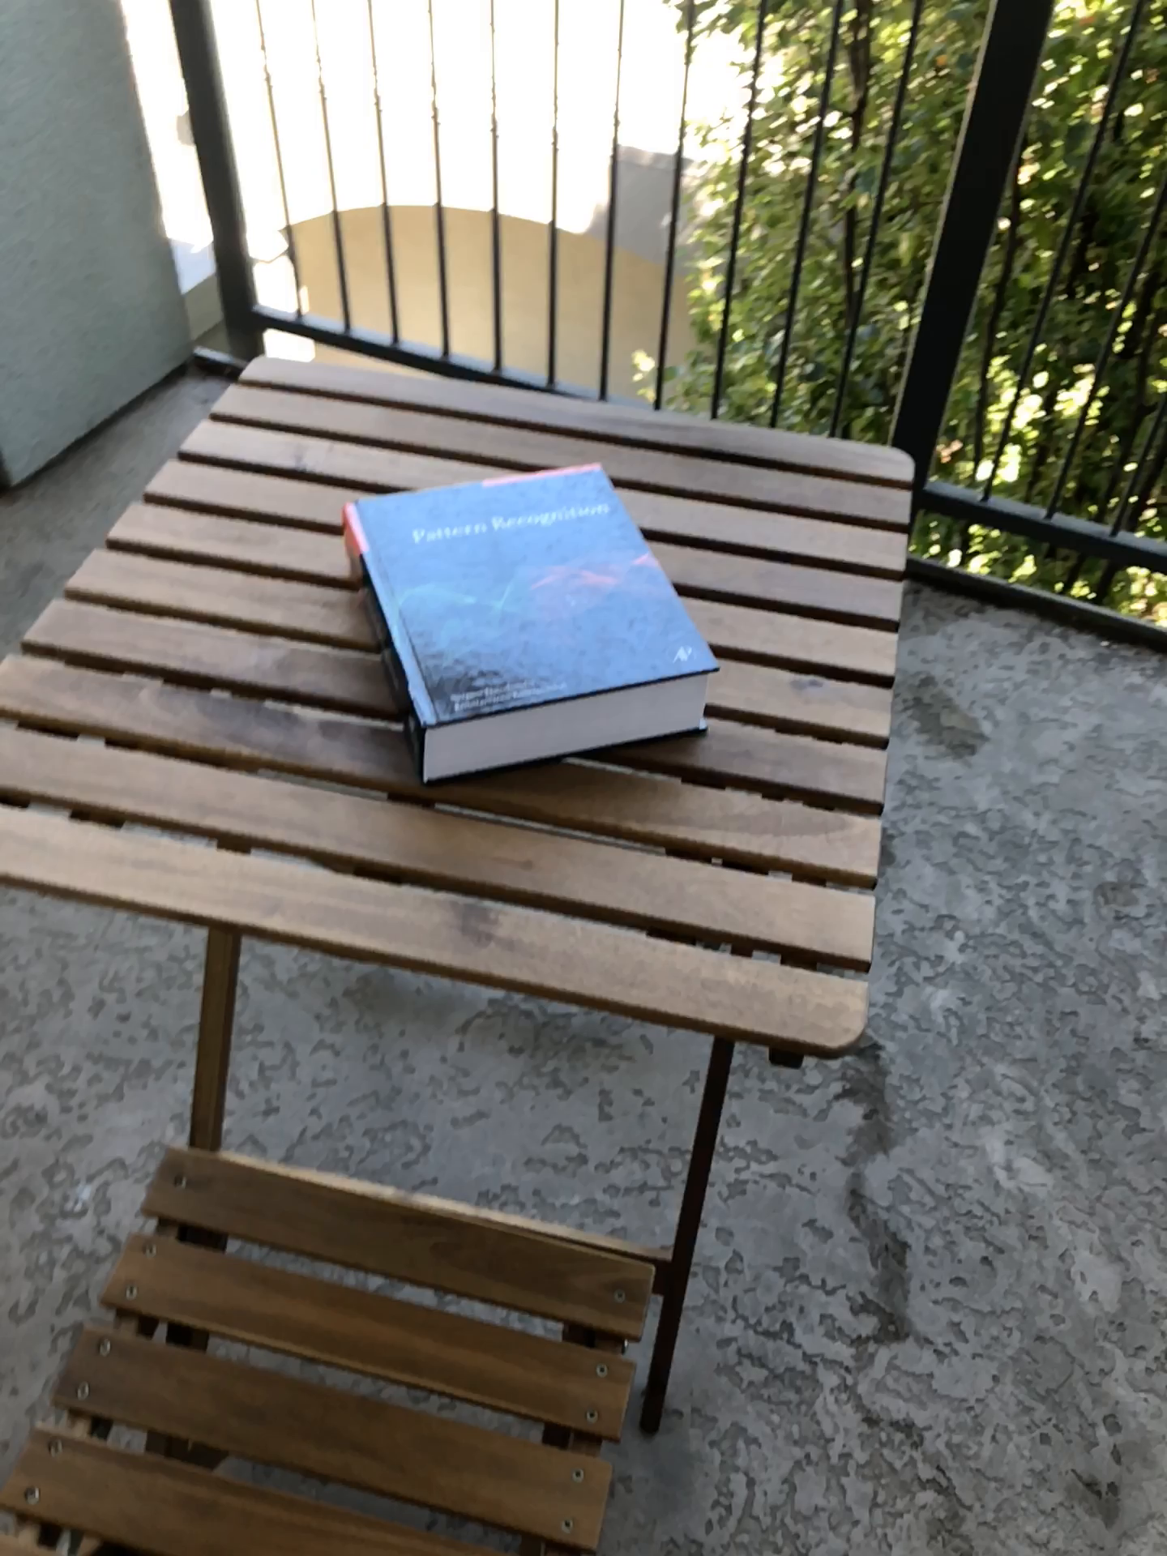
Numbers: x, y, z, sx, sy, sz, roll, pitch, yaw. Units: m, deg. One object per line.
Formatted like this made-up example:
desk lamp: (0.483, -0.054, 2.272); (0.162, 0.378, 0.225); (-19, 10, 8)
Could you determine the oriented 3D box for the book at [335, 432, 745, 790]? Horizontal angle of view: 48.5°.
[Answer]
book: (-0.039, -0.125, 0.882); (0.210, 0.070, 0.251); (-11, 48, -13)
